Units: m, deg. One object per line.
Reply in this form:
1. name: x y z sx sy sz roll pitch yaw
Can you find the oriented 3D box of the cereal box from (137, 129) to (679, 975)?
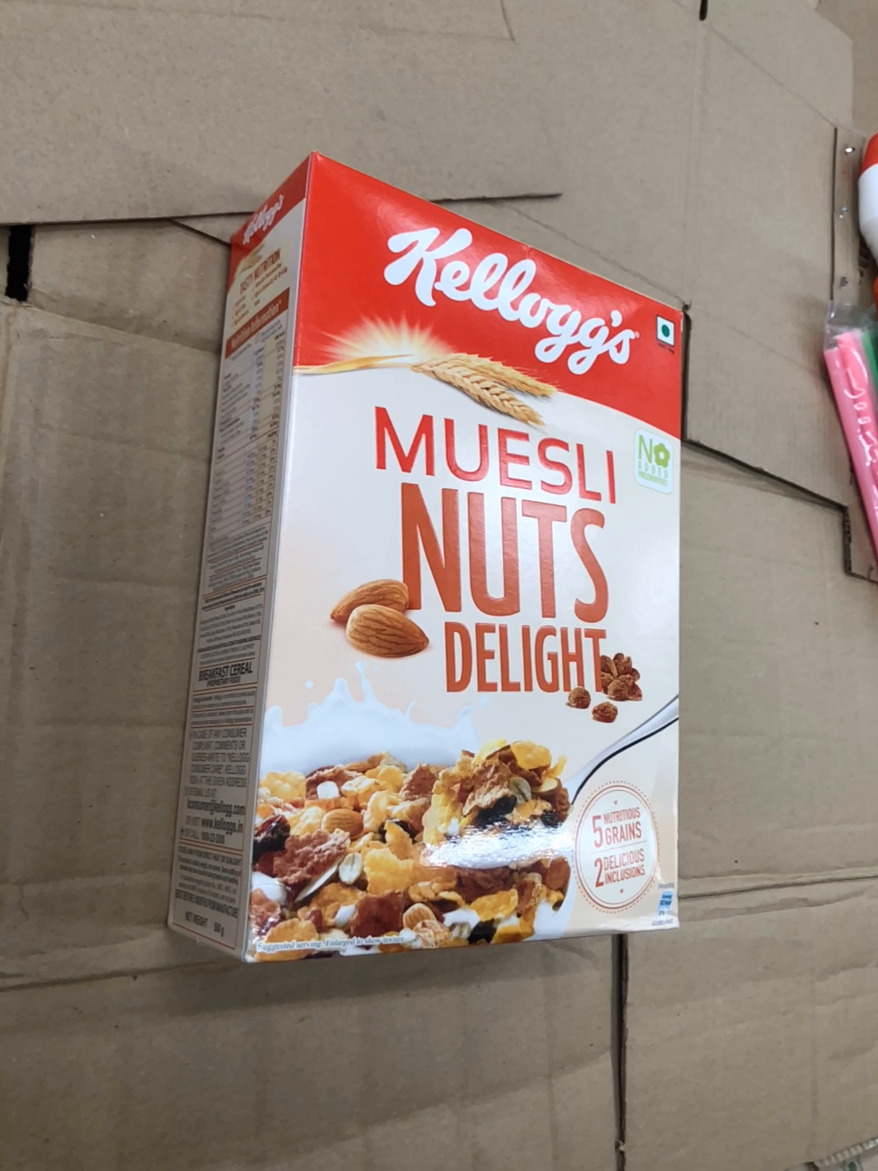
1. cereal box: 0.000 -0.003 0.368 0.181 0.070 0.260 11 75 -34
